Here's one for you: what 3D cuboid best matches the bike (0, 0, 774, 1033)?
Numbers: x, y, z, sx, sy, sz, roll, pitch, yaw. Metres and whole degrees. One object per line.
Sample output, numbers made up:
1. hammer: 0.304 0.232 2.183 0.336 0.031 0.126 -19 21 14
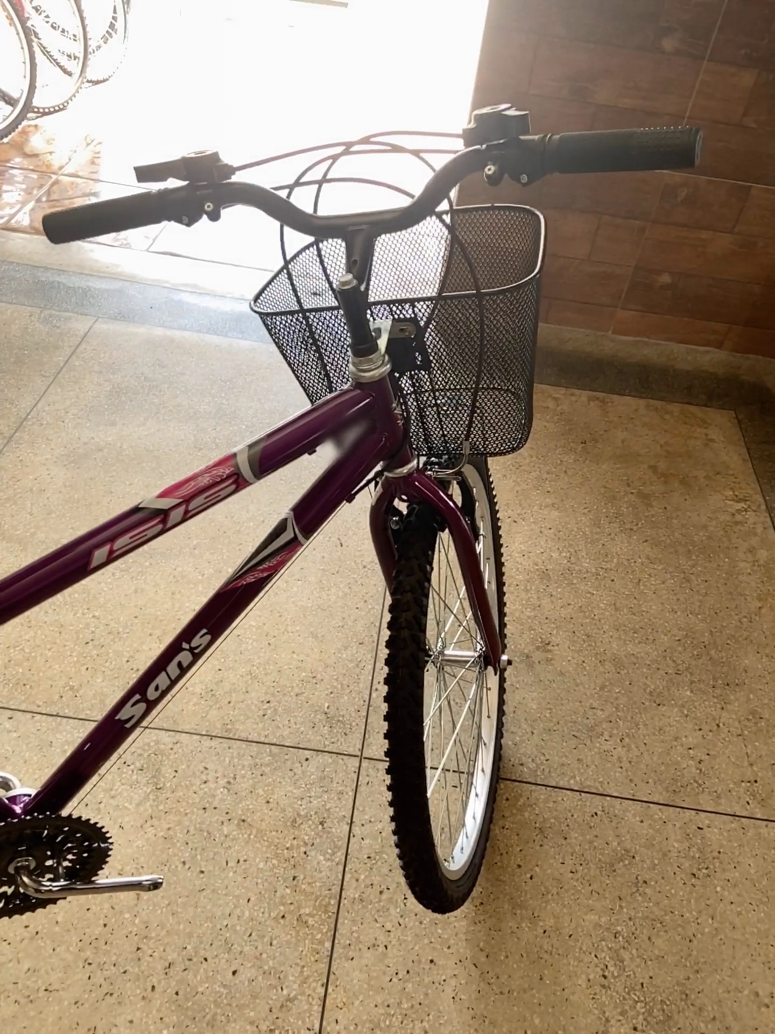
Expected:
1. bike: -0.443 0.080 0.816 1.526 1.034 0.574 -22 51 -25
